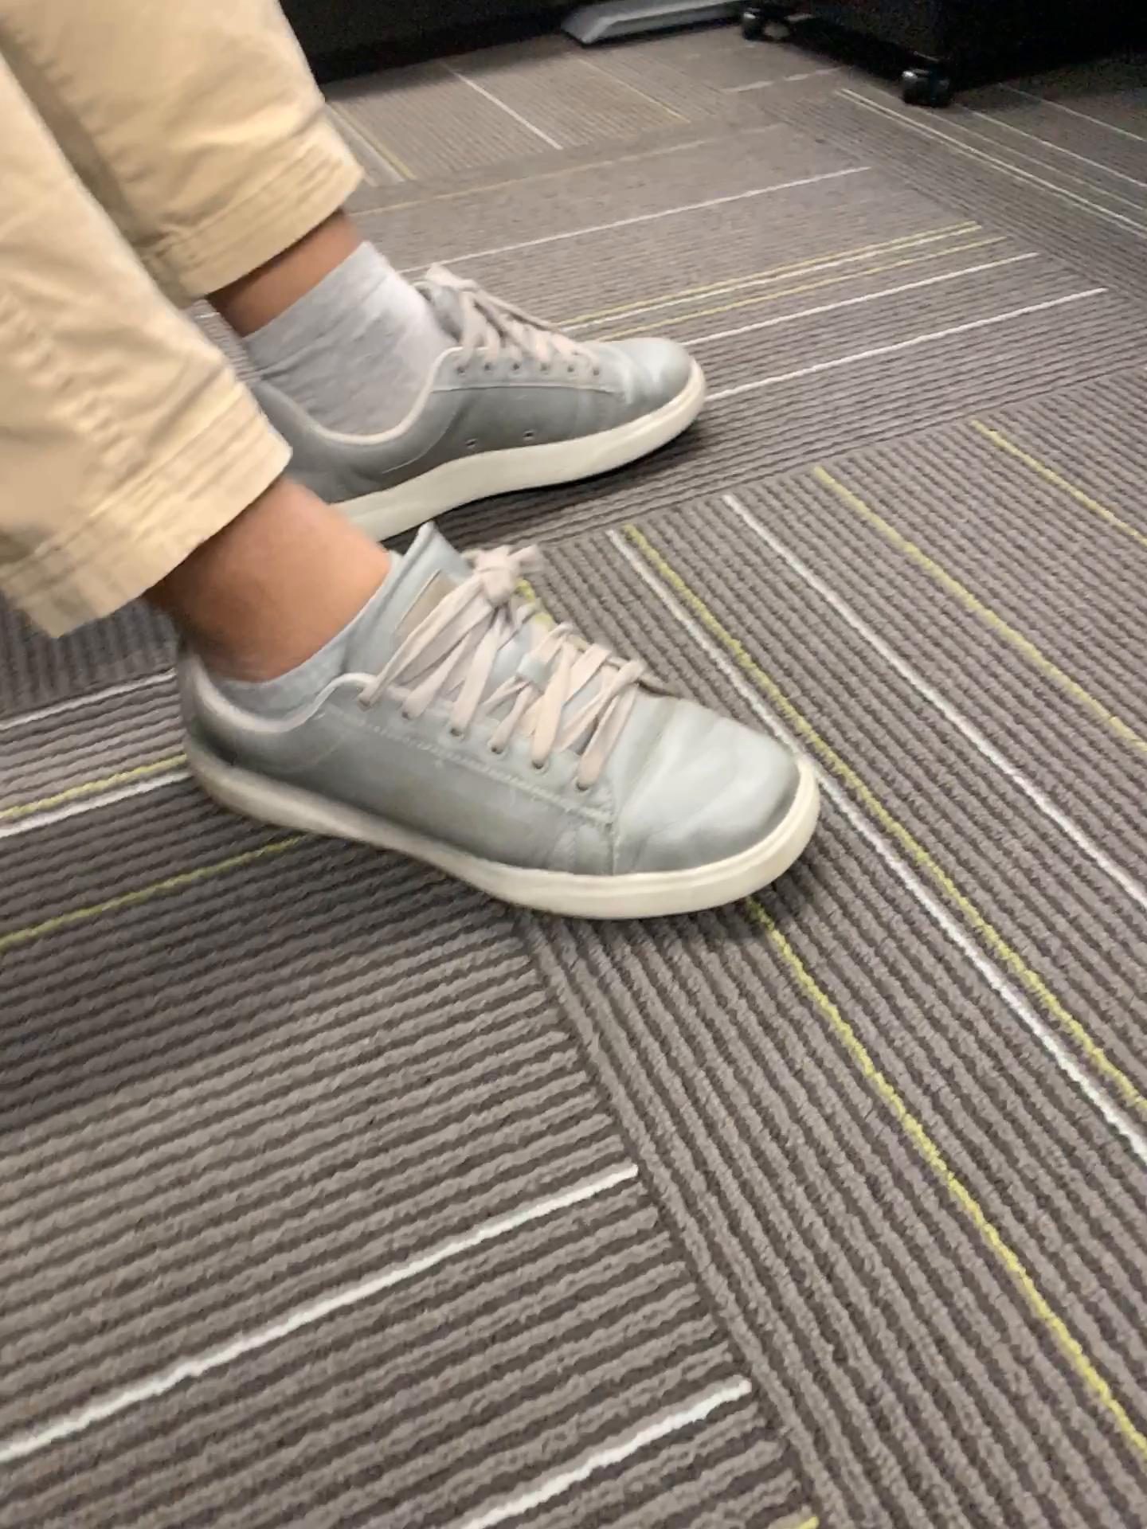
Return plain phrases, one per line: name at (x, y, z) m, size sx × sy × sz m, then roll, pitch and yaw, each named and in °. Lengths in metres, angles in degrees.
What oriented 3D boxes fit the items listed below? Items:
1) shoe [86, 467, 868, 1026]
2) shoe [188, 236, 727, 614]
shoe at (-0.032, -0.015, 0.492) m, size 0.270 × 0.139 × 0.121 m, roll 12°, pitch 47°, yaw 16°
shoe at (-0.062, -0.208, 0.700) m, size 0.280 × 0.109 × 0.121 m, roll -21°, pitch 47°, yaw -16°
